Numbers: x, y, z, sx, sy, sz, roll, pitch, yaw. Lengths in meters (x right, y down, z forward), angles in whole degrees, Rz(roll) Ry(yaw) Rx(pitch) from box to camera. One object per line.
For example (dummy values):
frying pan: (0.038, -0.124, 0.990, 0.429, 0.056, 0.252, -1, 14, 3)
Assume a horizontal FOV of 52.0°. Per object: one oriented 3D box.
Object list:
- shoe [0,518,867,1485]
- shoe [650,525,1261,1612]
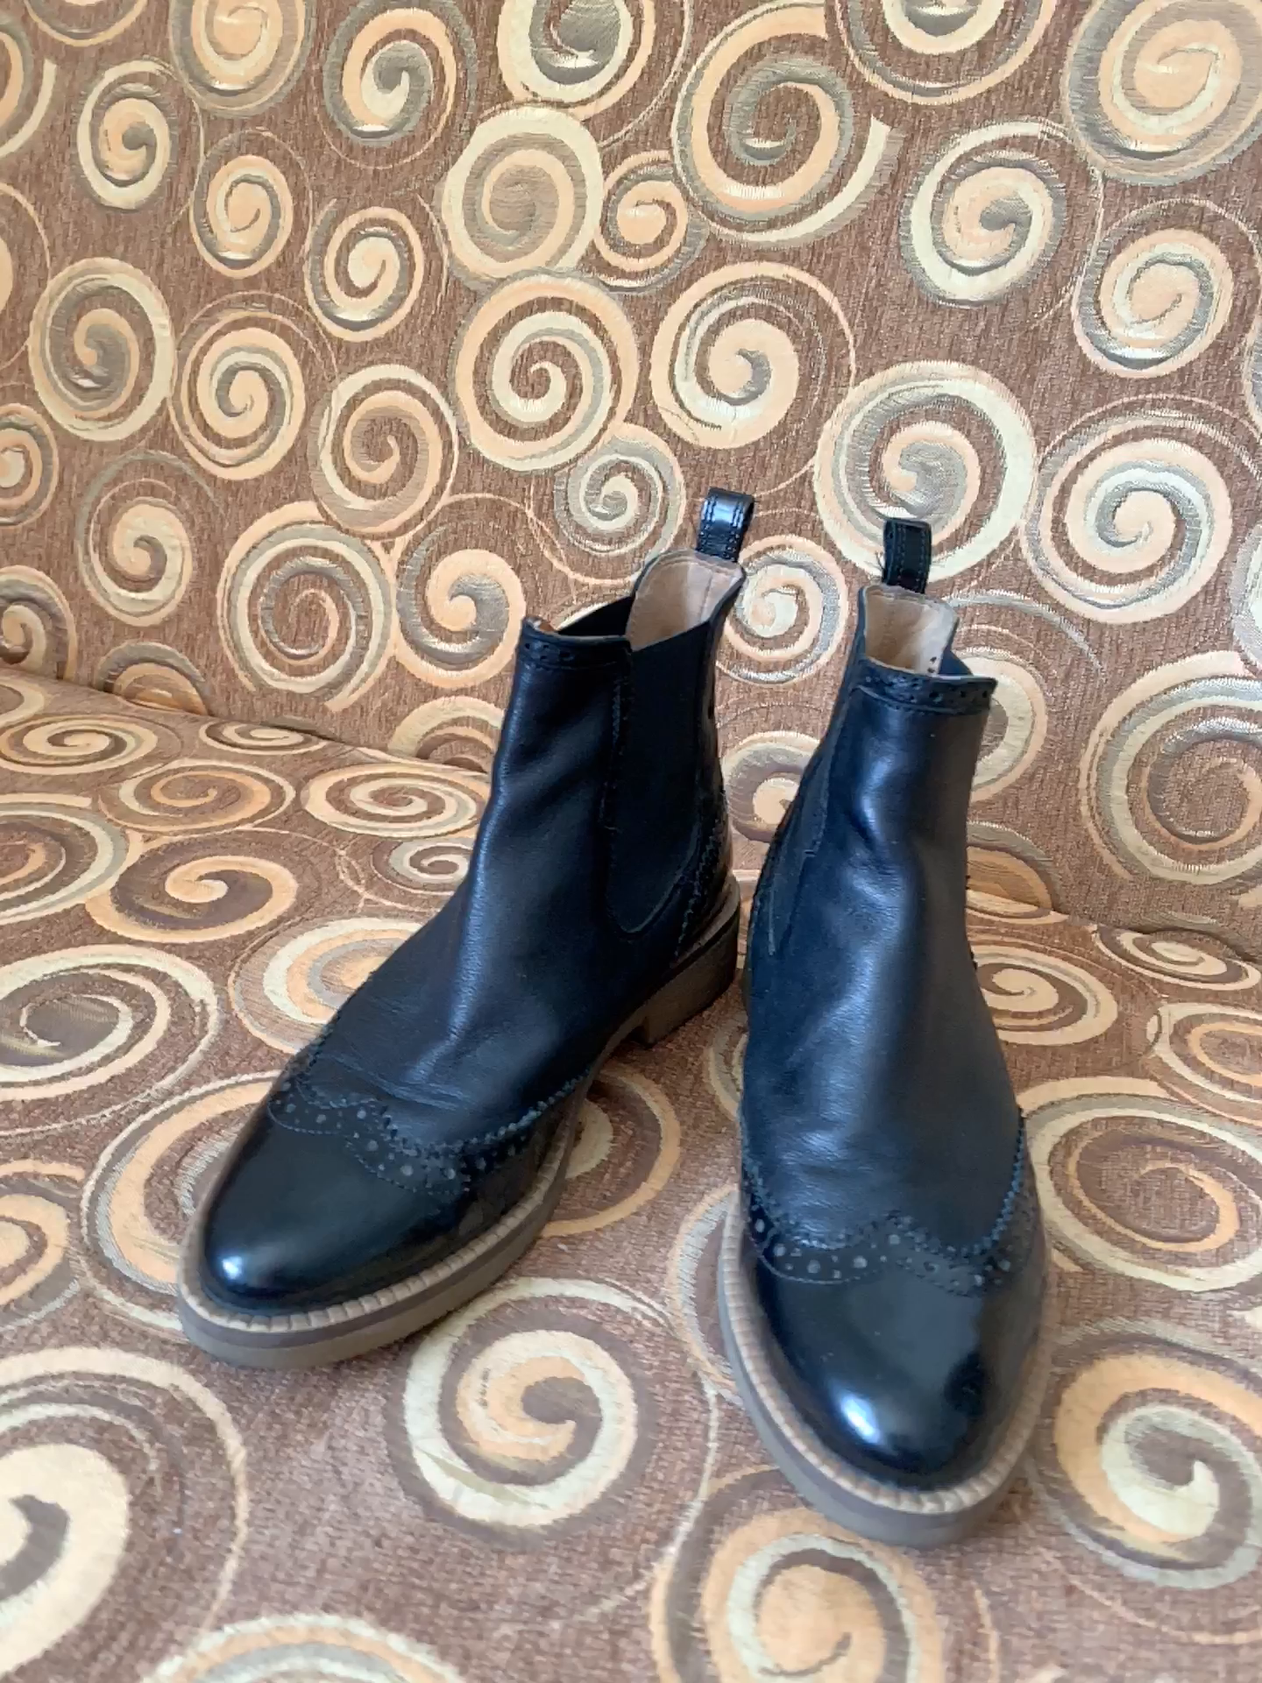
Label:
shoe: (-0.040, 0.016, 0.359, 0.100, 0.139, 0.241, 21, 35, 27)
shoe: (0.069, 0.026, 0.368, 0.100, 0.139, 0.292, 5, 31, 2)
